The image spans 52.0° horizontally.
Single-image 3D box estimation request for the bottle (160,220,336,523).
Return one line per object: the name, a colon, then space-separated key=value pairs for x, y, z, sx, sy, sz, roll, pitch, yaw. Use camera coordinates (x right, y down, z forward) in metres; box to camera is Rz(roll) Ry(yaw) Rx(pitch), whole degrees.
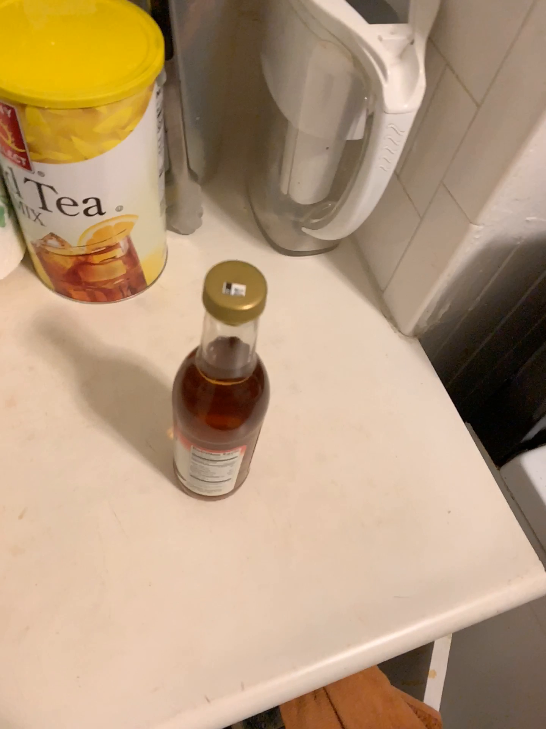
bottle: x=-0.027 y=0.027 z=0.355 sx=0.070 sy=0.239 sz=0.070 roll=5 pitch=59 yaw=-8
